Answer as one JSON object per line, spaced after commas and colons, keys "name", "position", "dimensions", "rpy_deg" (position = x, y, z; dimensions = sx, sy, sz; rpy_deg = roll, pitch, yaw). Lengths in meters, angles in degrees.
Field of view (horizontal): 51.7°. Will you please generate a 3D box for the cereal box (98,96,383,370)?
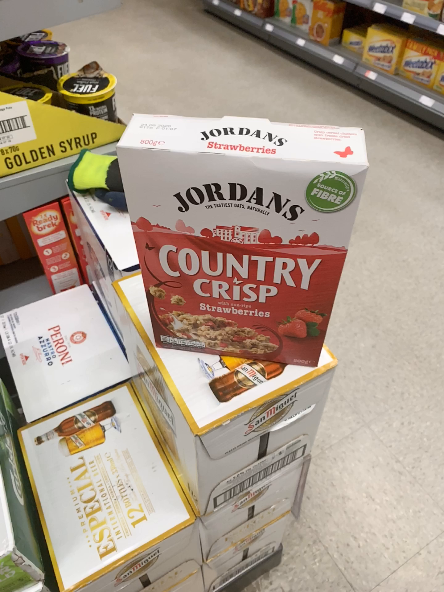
{"name": "cereal box", "position": [0.013, -0.039, 0.415], "dimensions": [0.190, 0.248, 0.061], "rpy_deg": [6, 48, 5]}
